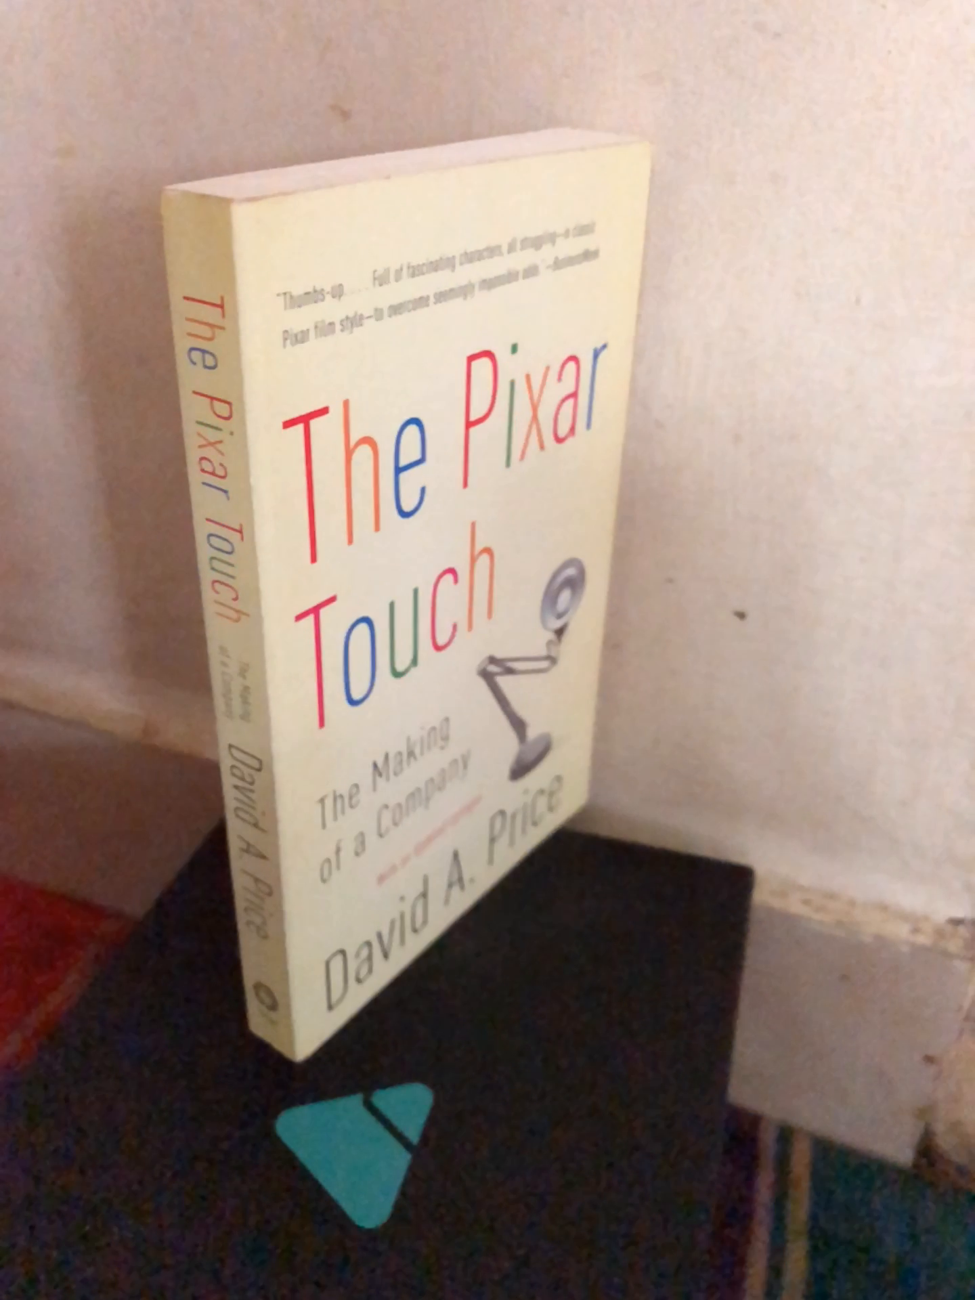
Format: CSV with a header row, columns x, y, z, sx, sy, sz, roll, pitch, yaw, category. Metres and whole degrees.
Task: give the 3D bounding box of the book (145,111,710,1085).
x,y,z,sx,sy,sz,roll,pitch,yaw,category
-0.006,-0.016,0.266,0.030,0.199,0.141,22,35,29,book
